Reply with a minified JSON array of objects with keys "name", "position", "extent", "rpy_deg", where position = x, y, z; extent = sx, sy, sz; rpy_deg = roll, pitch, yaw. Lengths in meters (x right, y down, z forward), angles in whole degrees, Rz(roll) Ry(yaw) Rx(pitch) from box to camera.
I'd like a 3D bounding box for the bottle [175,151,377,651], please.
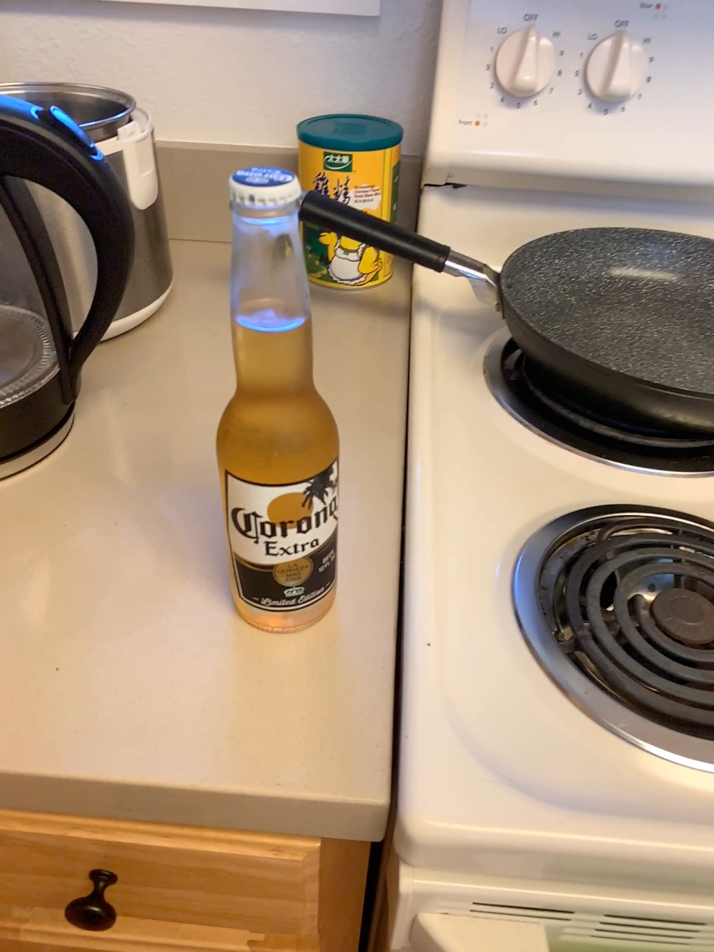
[{"name":"bottle","position":[-0.037,-0.022,0.342],"extent":[0.059,0.226,0.064],"rpy_deg":[2,39,-2]}]
